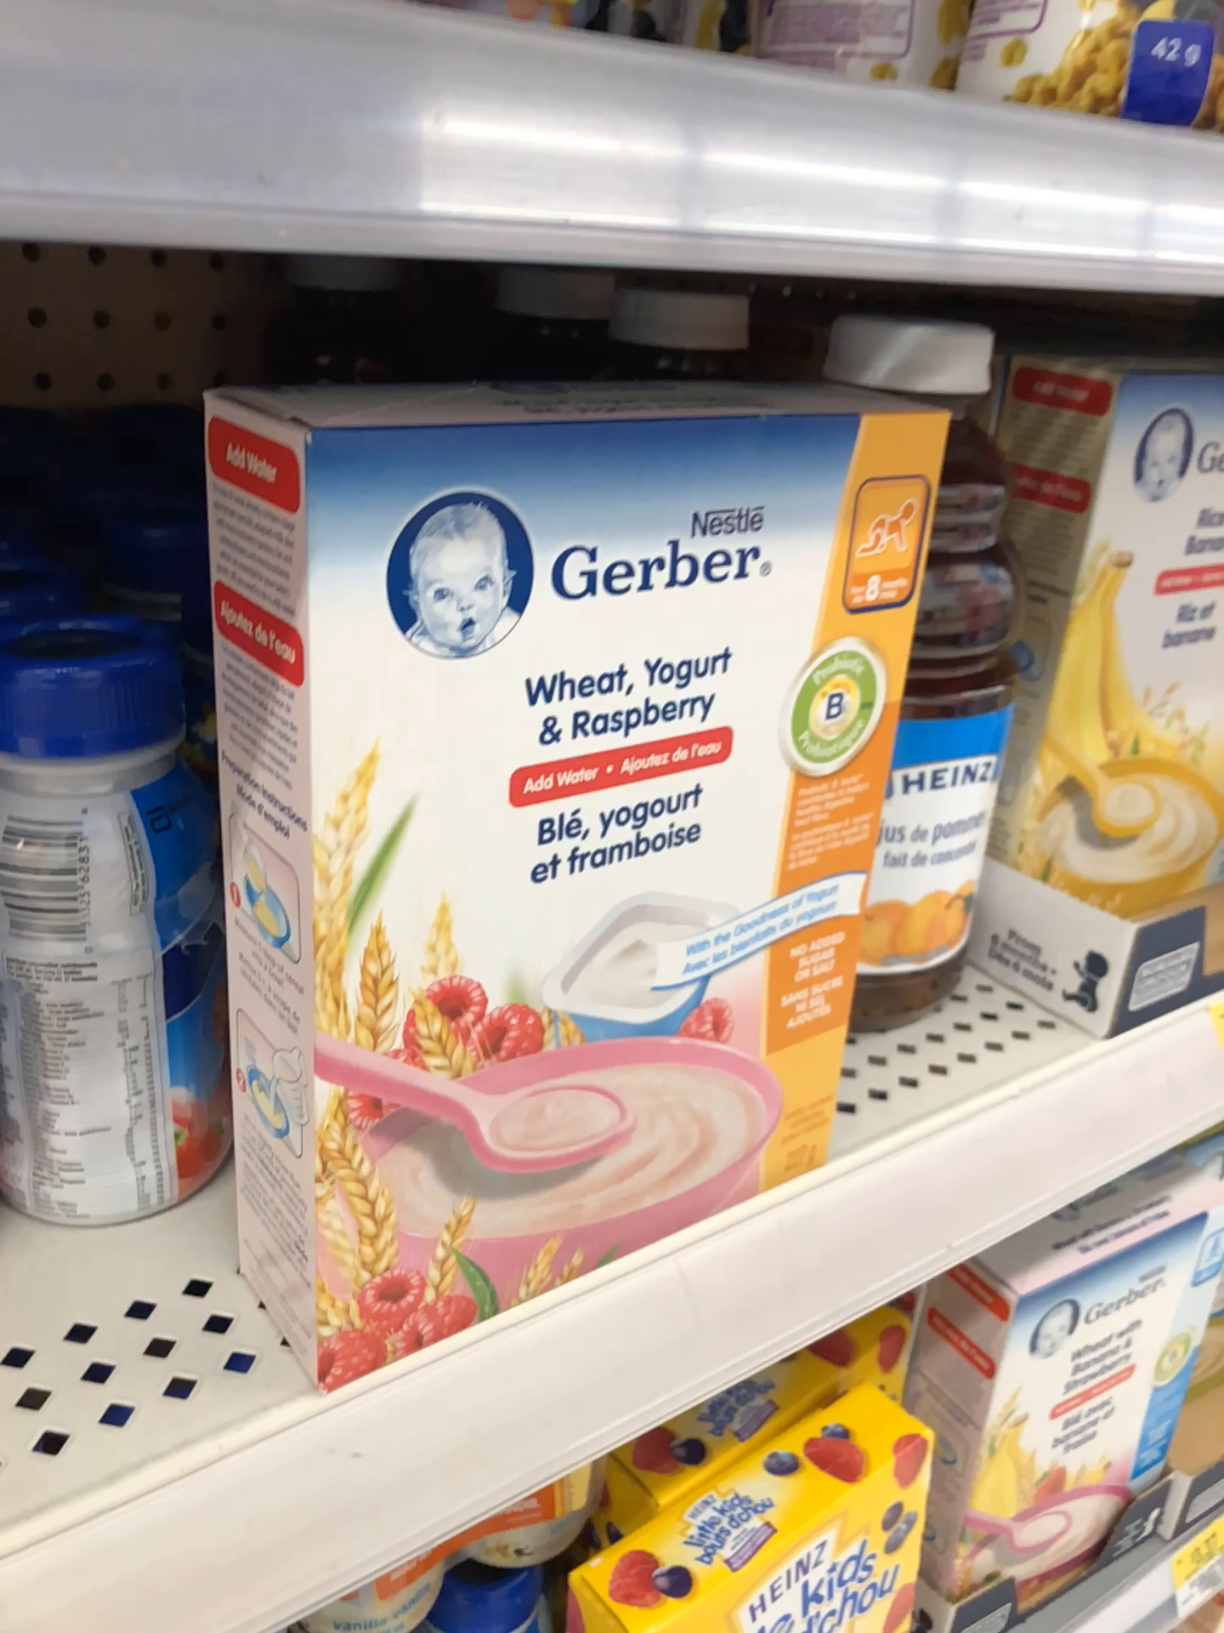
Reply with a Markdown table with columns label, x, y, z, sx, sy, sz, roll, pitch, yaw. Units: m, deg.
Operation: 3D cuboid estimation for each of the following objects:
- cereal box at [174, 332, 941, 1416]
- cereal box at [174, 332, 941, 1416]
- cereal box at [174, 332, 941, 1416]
| label | x | y | z | sx | sy | sz | roll | pitch | yaw |
| --- | --- | --- | --- | --- | --- | --- | --- | --- | --- |
| cereal box | -0.011 | 0.006 | 0.292 | 0.140 | 0.199 | 0.050 | -11 | 26 | -35 |
| cereal box | -0.011 | 0.006 | 0.292 | 0.140 | 0.199 | 0.050 | -11 | 26 | -35 |
| cereal box | -0.011 | 0.006 | 0.292 | 0.140 | 0.199 | 0.050 | -11 | 26 | -35 |
